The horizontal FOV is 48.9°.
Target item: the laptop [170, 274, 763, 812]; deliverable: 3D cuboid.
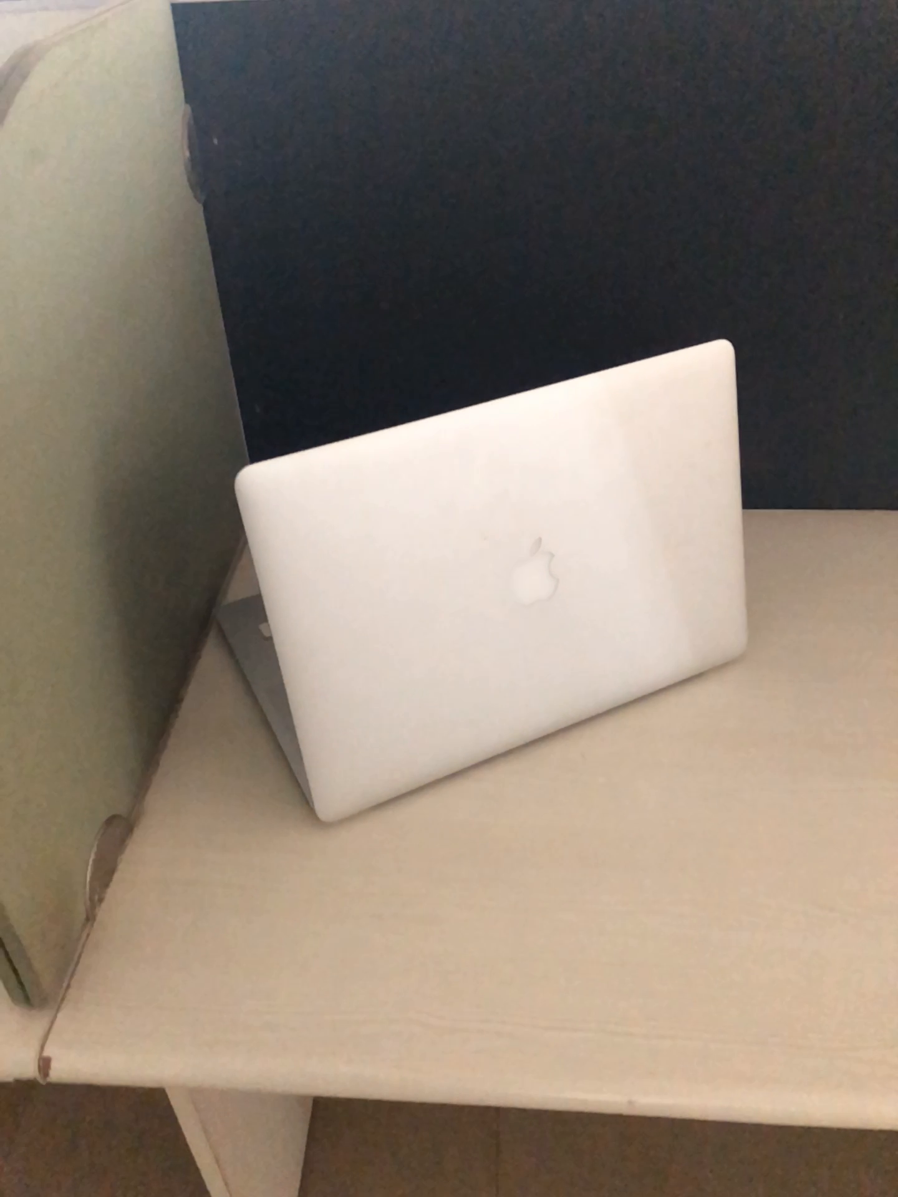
[{"bbox_3d":[0.006,-0.061,0.732,0.322,0.232,0.245,-19,40,-20],"label":"laptop"}]
